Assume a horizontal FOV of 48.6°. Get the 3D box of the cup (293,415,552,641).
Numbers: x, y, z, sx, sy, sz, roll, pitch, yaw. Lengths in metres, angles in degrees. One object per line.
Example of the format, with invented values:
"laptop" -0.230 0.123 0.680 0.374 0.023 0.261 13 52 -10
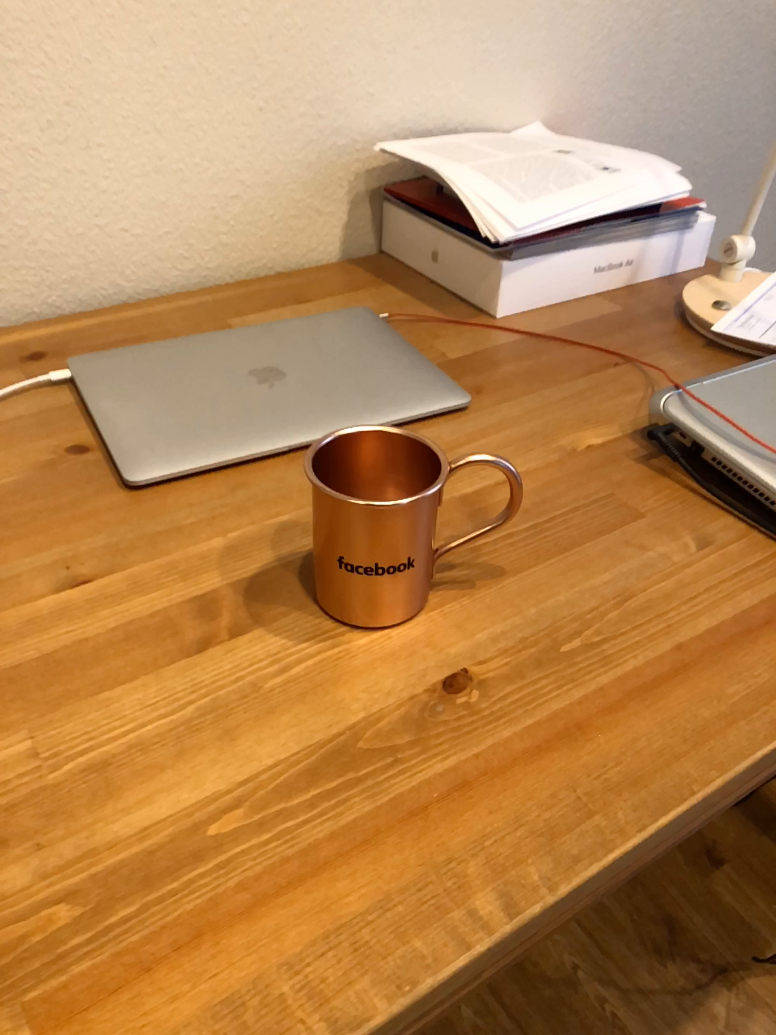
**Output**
"cup" 0.014 0.006 0.491 0.130 0.100 0.080 0 36 -3
